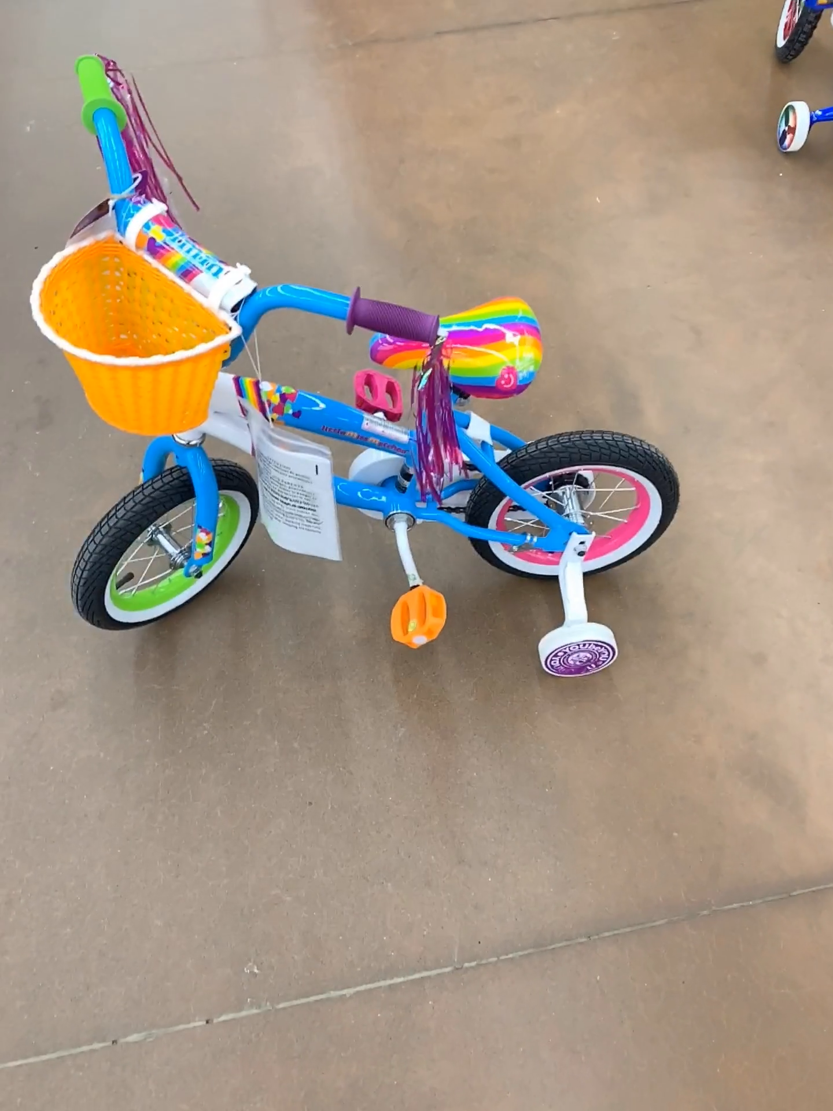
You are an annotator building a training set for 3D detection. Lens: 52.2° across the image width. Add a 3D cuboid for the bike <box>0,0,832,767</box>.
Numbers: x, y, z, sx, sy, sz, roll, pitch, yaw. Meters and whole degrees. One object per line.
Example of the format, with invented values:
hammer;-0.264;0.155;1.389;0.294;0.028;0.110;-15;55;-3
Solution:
bike;-0.062;-0.205;1.056;0.815;0.664;0.554;-11;53;-8
